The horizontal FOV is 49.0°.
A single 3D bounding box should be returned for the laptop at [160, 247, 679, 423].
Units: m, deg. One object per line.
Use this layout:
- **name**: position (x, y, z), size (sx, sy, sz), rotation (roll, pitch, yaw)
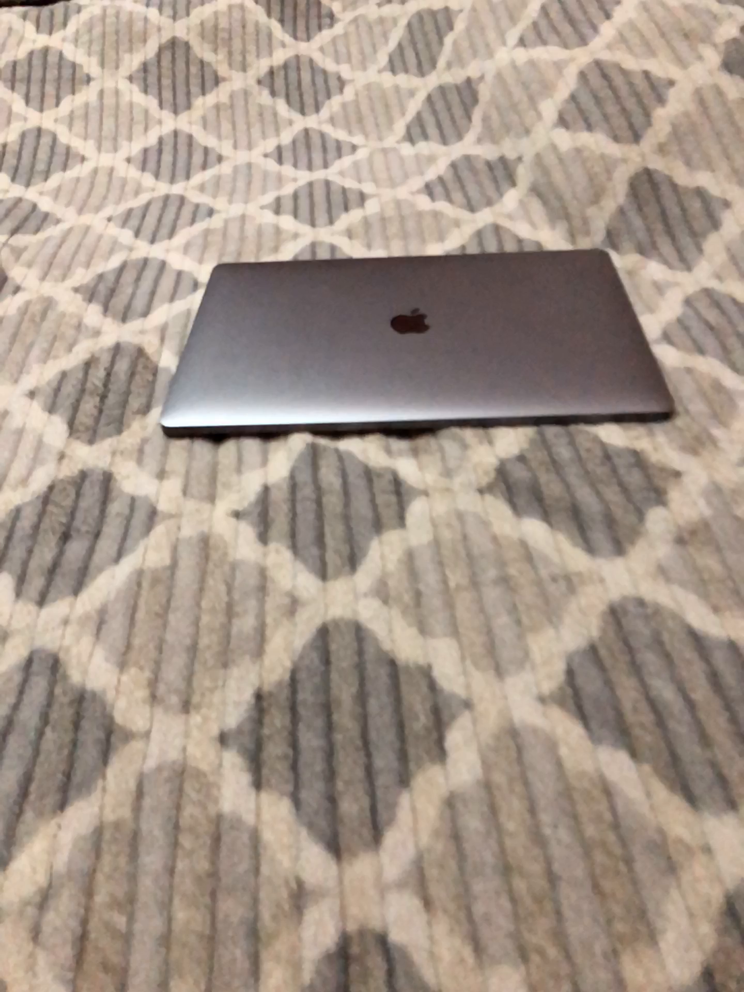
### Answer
- **laptop**: position (0.031, -0.139, 0.658), size (0.358, 0.007, 0.247), rotation (-1, 42, 3)
